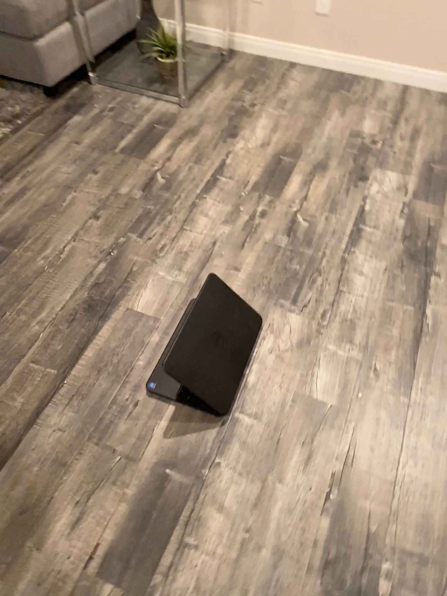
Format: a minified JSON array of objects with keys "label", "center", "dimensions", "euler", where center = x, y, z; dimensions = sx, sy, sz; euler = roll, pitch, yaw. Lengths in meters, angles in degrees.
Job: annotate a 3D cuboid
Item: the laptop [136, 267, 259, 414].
[{"label":"laptop","center":[-0.063,0.119,1.371],"dimensions":[0.230,0.170,0.354],"euler":[18,54,10]}]
